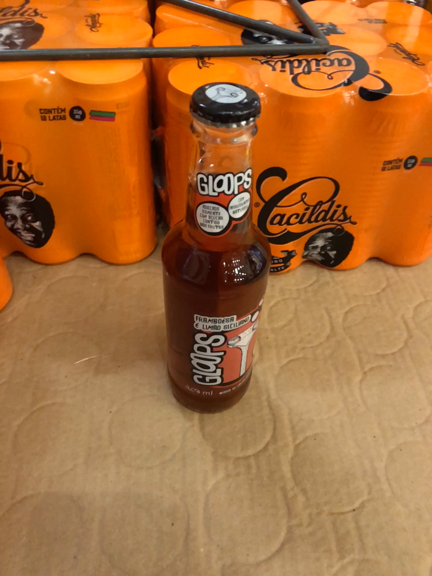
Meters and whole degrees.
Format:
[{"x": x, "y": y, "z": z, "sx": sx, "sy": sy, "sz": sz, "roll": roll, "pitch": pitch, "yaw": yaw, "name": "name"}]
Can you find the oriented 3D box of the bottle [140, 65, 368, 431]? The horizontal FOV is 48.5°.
[{"x": 0.009, "y": -0.004, "z": 0.248, "sx": 0.070, "sy": 0.189, "sz": 0.050, "roll": -17, "pitch": 50, "yaw": -18, "name": "bottle"}]
